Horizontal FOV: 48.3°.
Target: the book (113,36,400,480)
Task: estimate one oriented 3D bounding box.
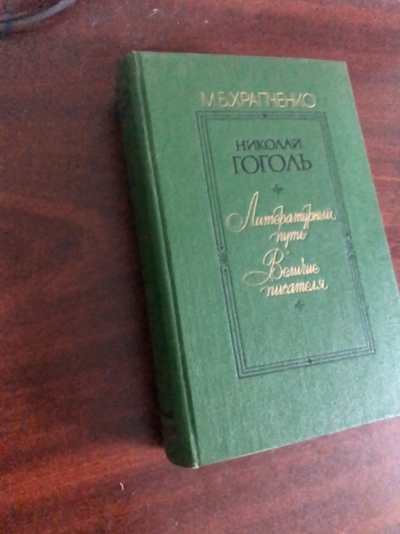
[{"bbox_3d":[0.034,-0.014,0.244,0.130,0.050,0.206,-6,80,-18],"label":"book"}]
